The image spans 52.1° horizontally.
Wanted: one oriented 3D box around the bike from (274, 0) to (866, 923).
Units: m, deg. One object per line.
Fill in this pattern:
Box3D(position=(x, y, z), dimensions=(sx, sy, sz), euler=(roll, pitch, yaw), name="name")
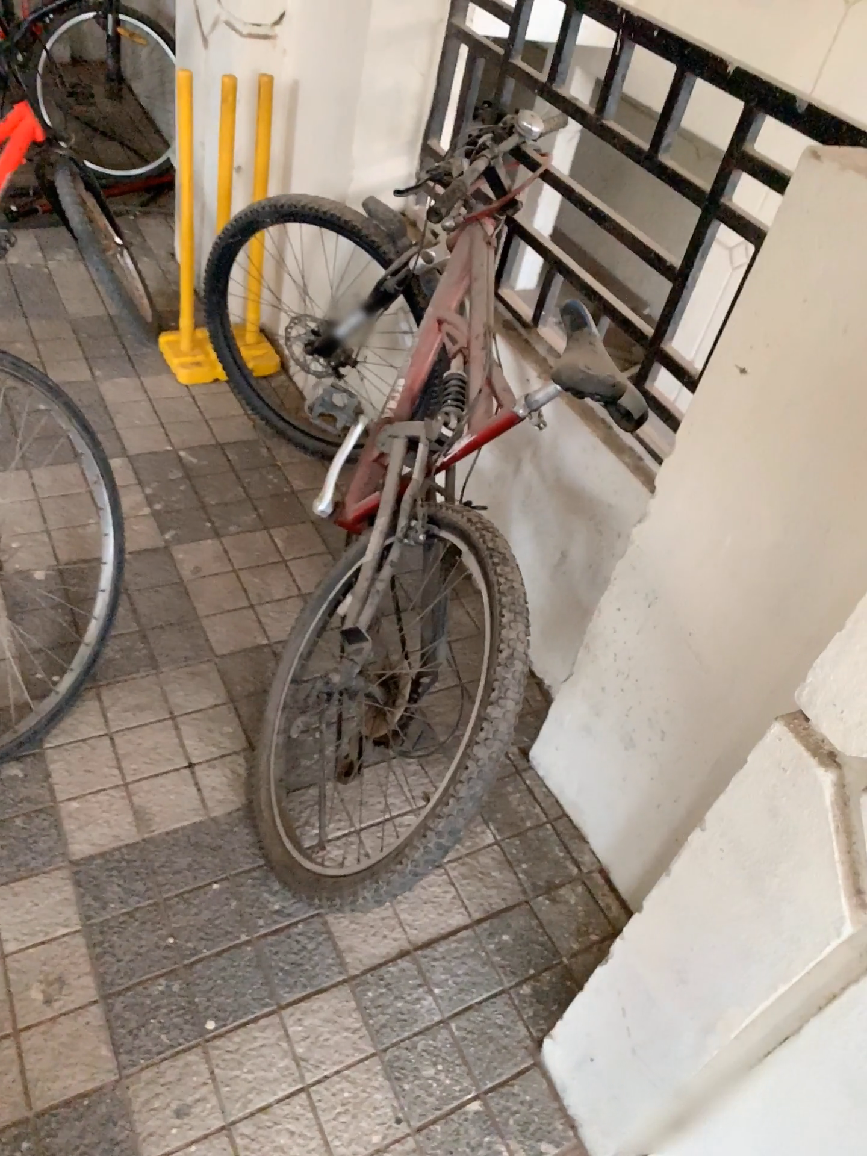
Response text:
Box3D(position=(0.152, -0.376, 1.610), dimensions=(0.608, 0.831, 1.470), euler=(-3, 52, -20), name="bike")
